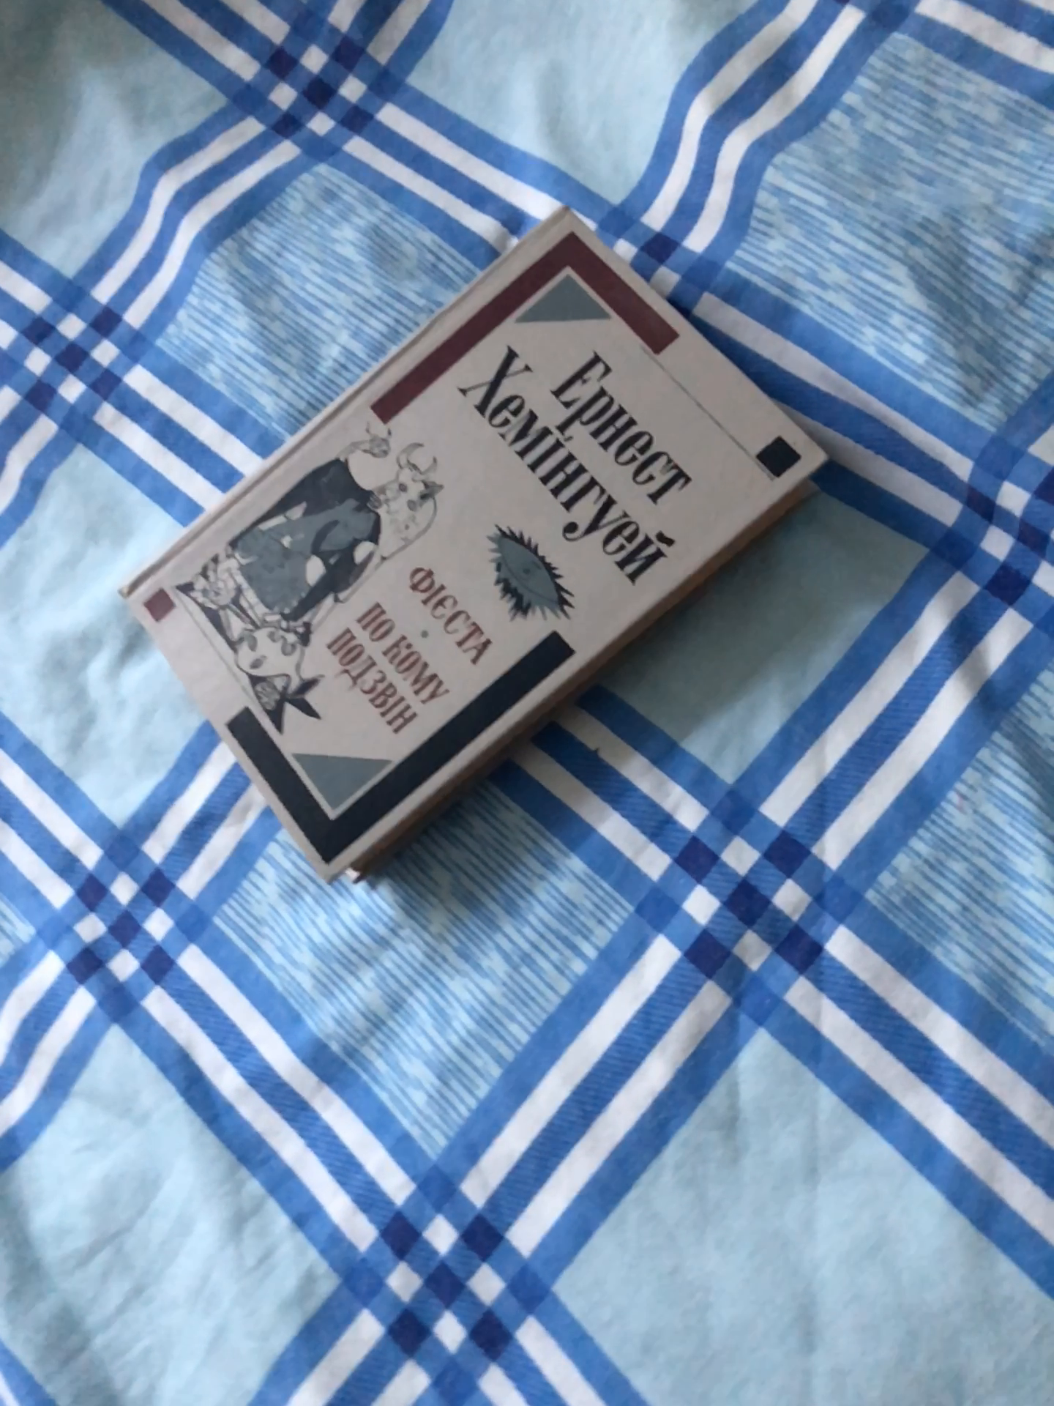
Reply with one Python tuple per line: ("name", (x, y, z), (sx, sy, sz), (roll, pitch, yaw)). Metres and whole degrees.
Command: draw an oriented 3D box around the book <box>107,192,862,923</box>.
("book", (-0.019, -0.051, 0.403), (0.220, 0.040, 0.142), (-40, 69, 3))
